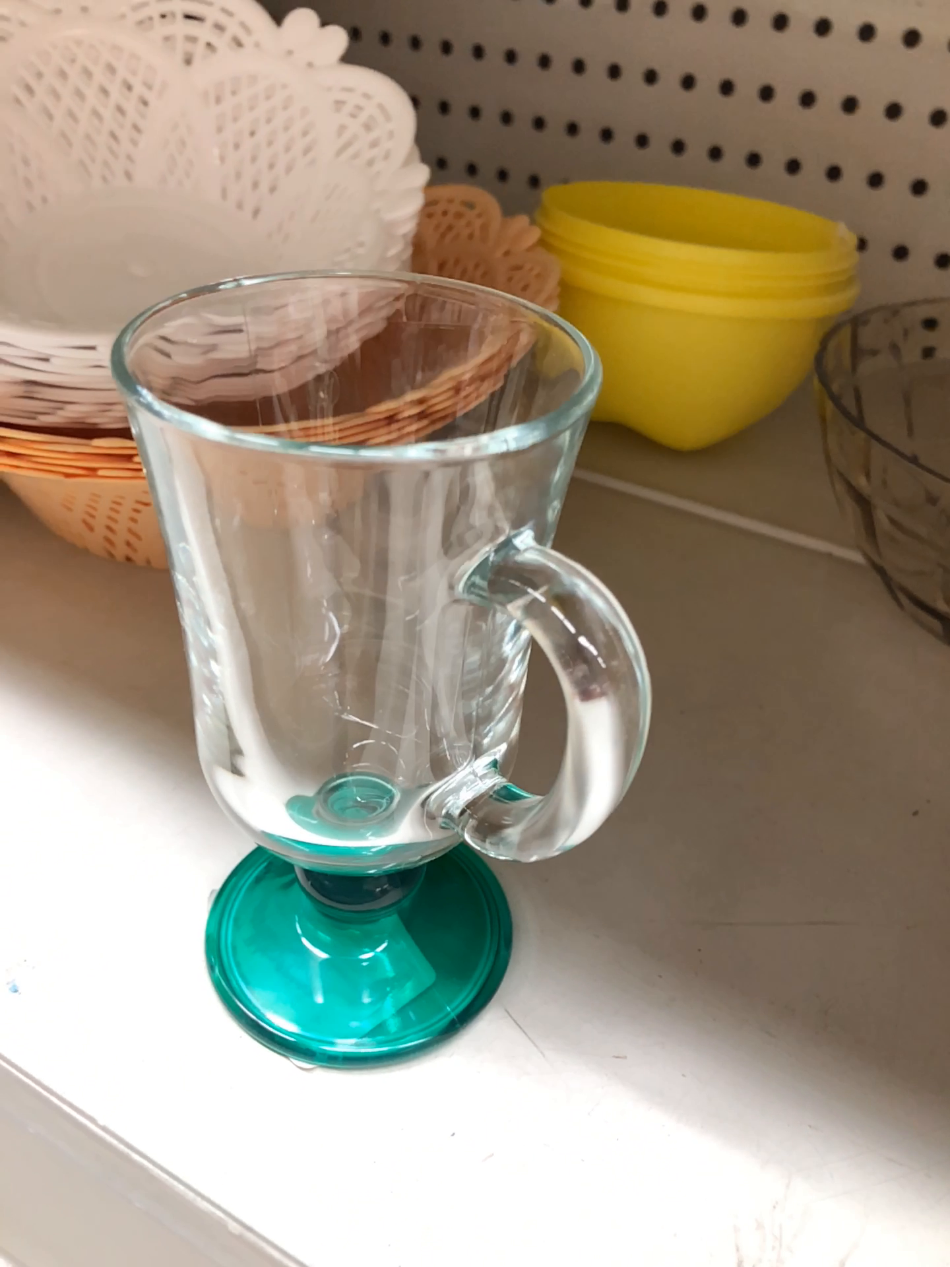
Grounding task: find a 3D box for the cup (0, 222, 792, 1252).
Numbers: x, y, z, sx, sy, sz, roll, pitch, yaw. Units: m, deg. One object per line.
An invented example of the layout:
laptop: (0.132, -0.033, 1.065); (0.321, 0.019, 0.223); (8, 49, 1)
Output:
cup: (-0.025, 0.007, 0.185); (0.108, 0.118, 0.086); (27, 42, 32)
